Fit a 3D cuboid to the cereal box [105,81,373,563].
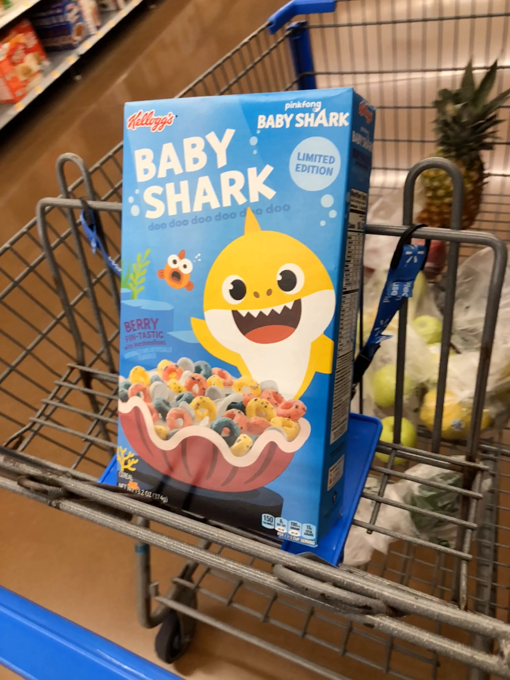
[{"bbox_3d":[-0.022,-0.017,0.463,0.190,0.340,0.070,9,12,25],"label":"cereal box"}]
